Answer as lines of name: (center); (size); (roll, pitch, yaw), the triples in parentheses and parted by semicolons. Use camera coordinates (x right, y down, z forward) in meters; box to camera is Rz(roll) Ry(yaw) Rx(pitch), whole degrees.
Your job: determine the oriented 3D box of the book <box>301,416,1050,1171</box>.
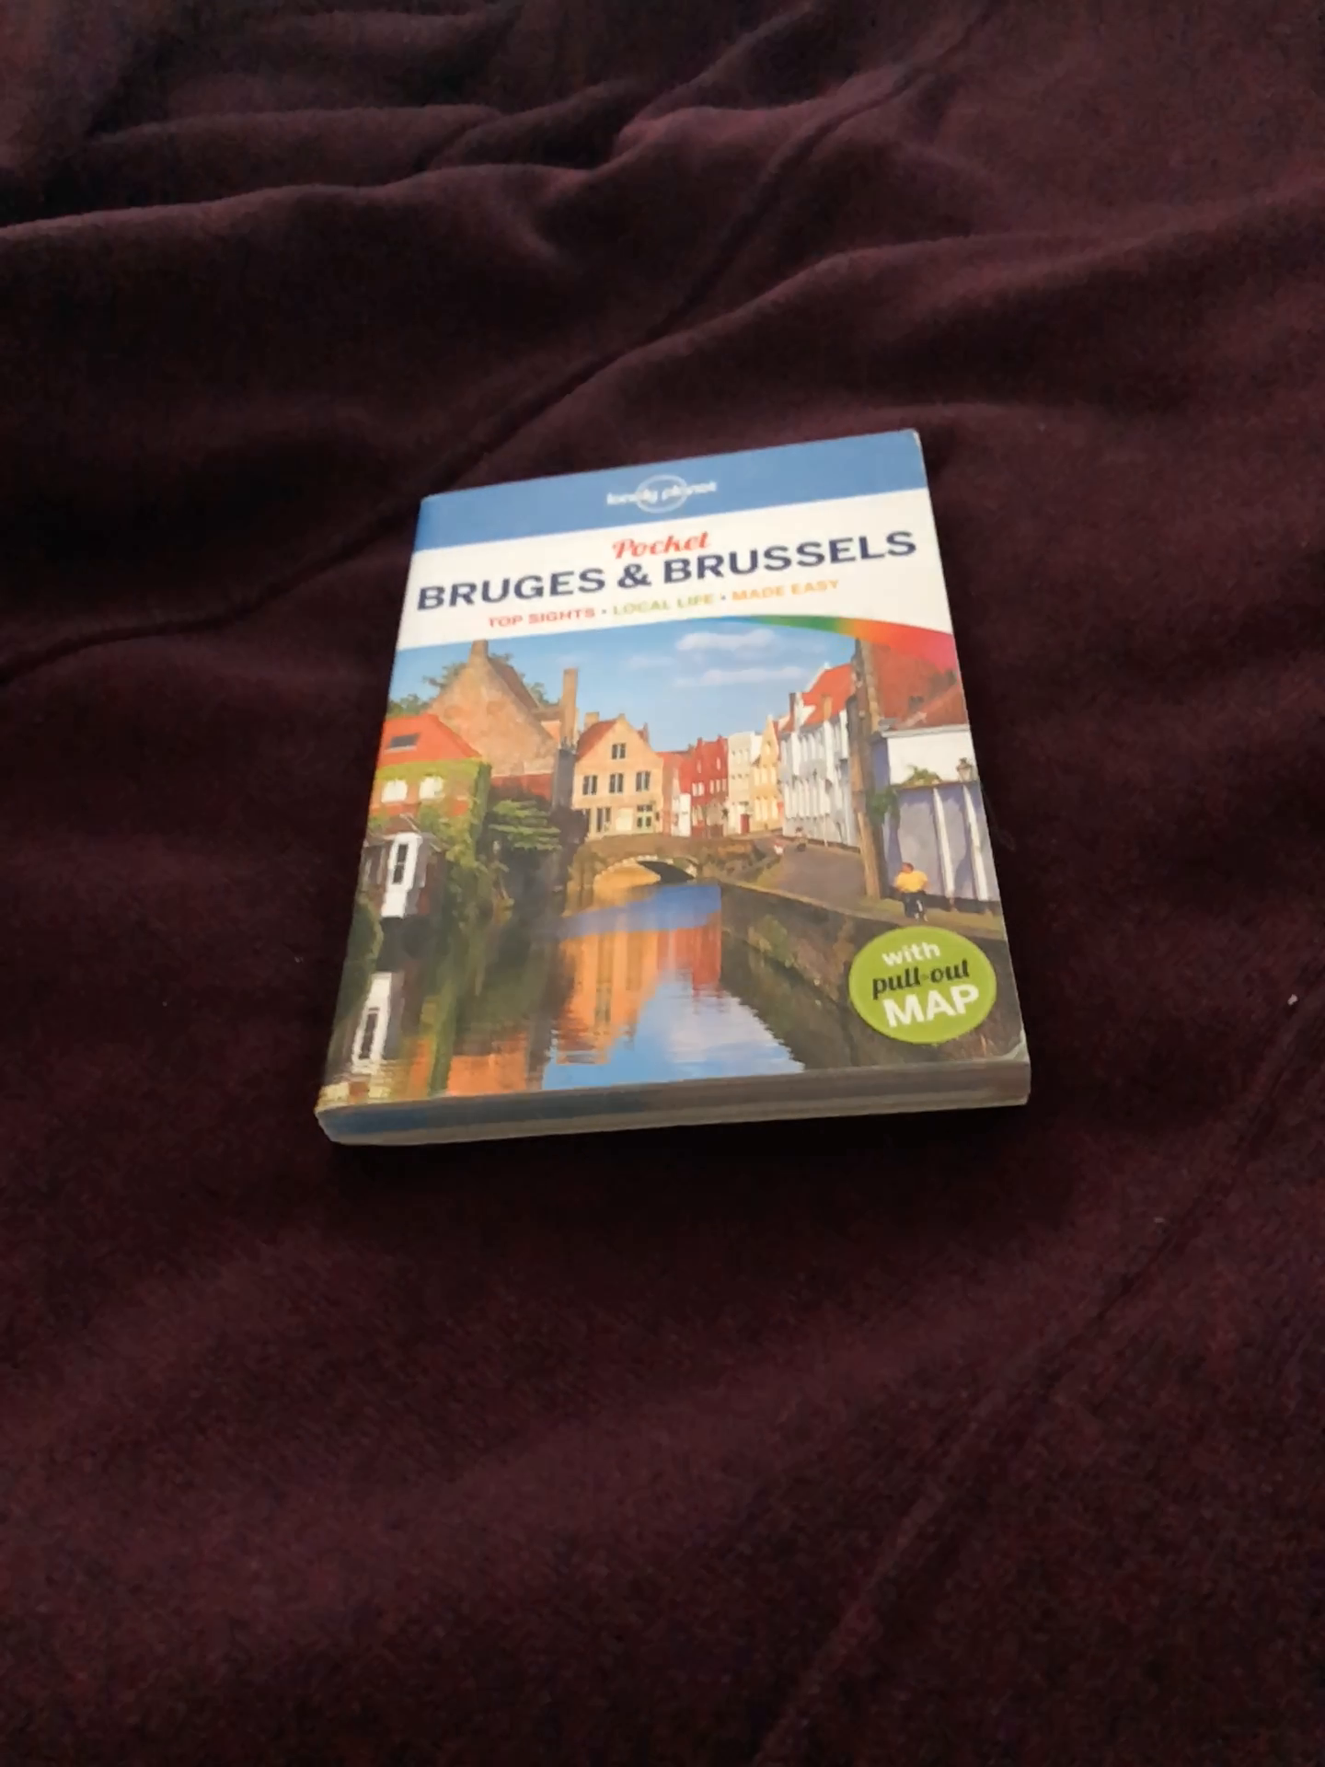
book: (0.001, -0.026, 0.272); (0.110, 0.016, 0.158); (-6, 50, 7)
